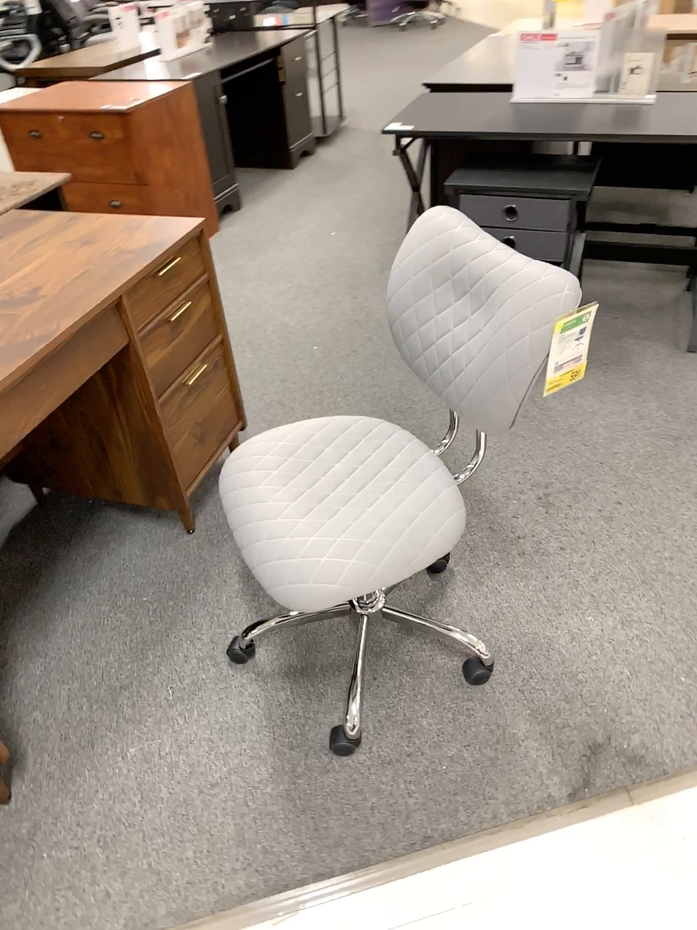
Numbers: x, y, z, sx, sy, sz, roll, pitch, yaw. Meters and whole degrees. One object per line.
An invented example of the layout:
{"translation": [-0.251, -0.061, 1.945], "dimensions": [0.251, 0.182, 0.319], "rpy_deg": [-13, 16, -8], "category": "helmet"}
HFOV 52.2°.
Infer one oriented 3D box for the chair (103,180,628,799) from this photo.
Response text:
{"translation": [0.004, 0.028, 1.409], "dimensions": [0.640, 0.875, 0.633], "rpy_deg": [-18, 40, -15], "category": "chair"}
